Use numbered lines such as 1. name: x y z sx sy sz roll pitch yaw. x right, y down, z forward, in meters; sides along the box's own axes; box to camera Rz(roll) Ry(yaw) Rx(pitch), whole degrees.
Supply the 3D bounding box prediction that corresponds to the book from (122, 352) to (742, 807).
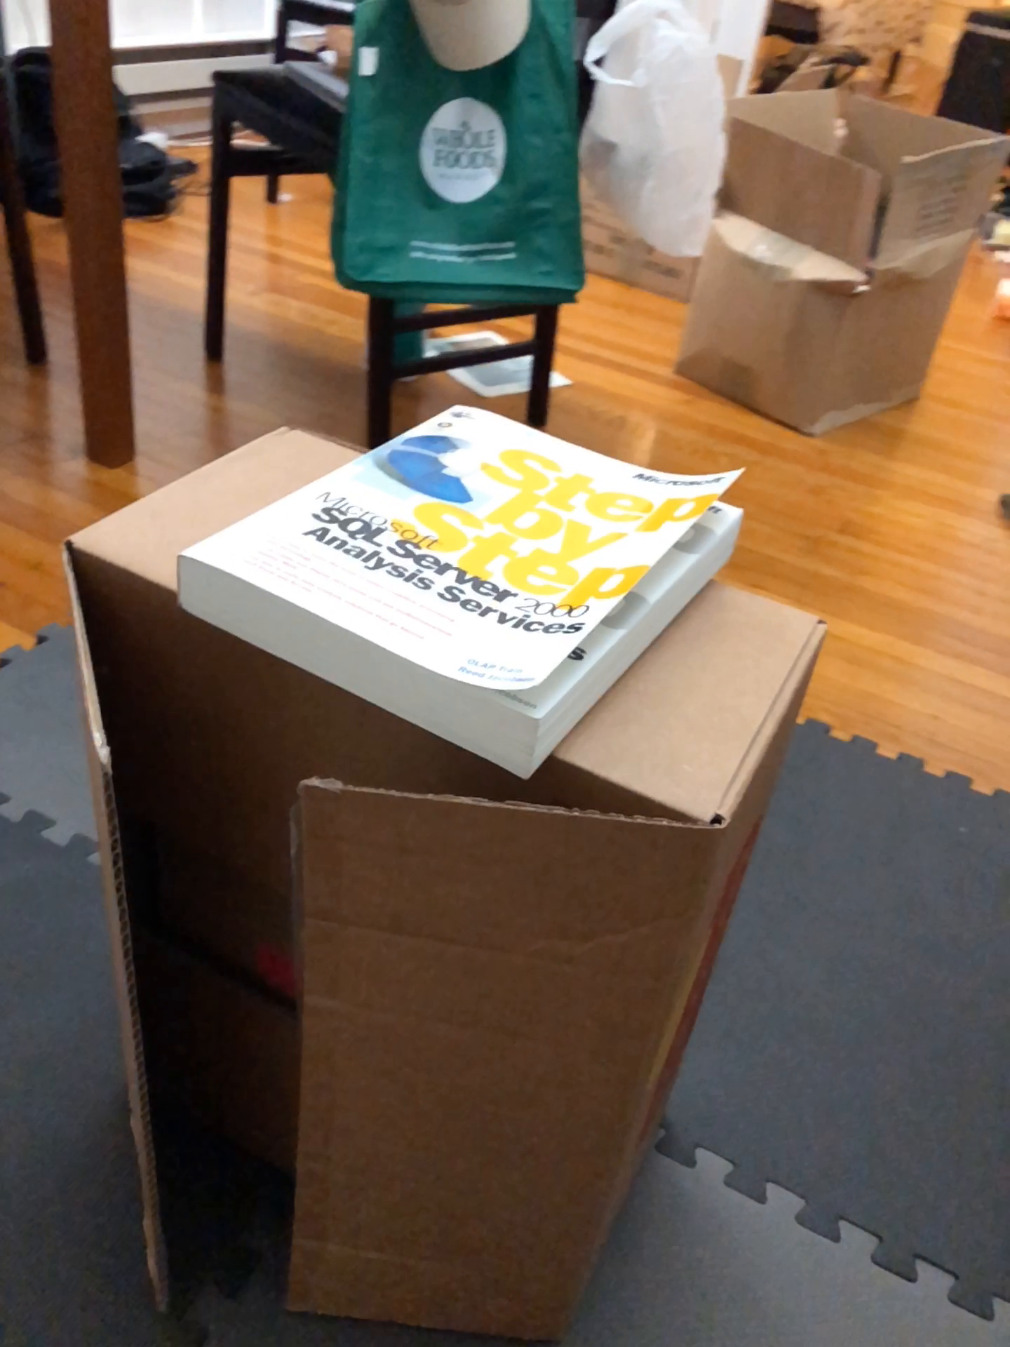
1. book: -0.022 -0.067 0.544 0.200 0.050 0.241 26 40 16
